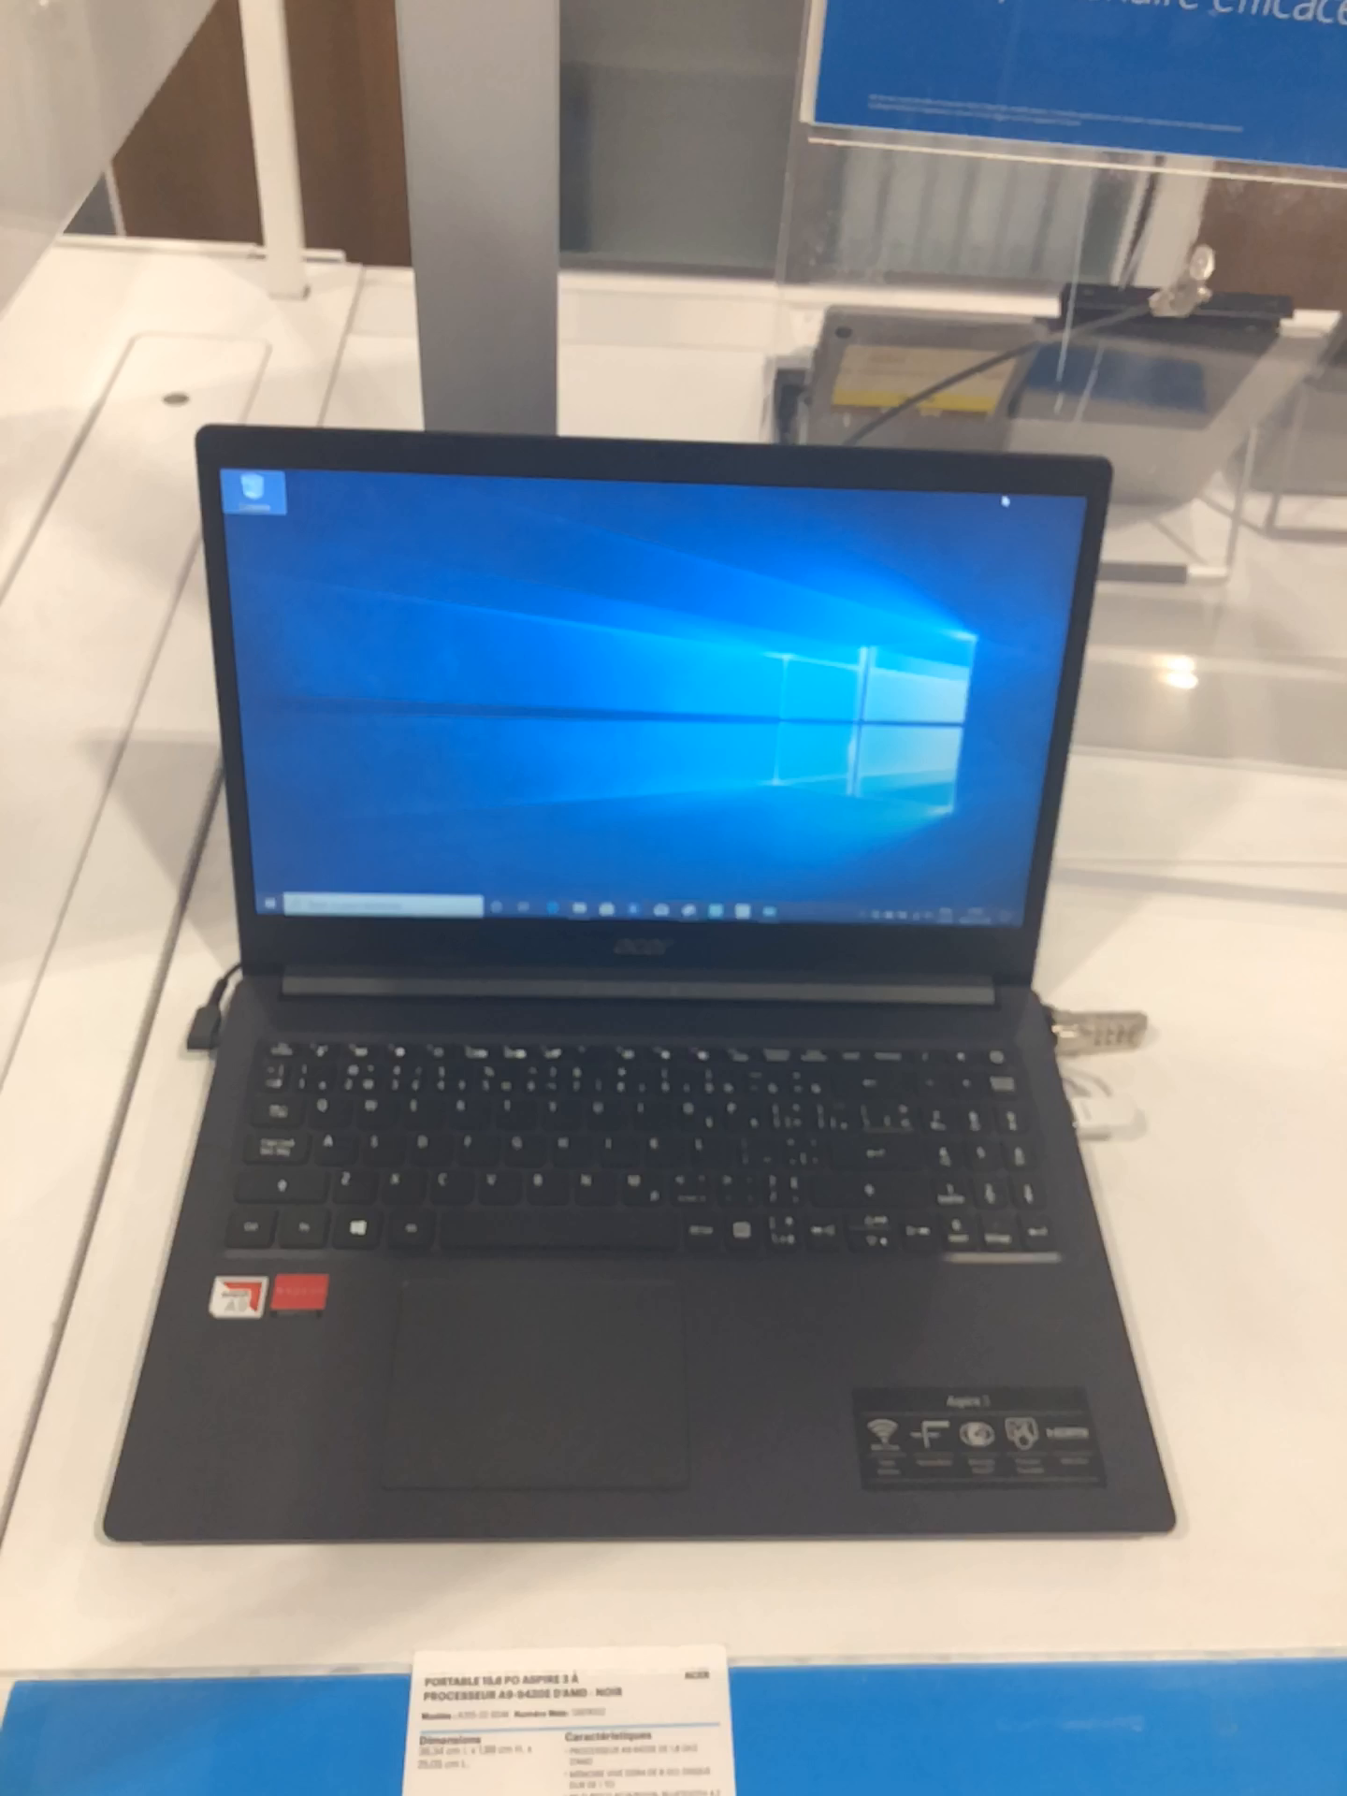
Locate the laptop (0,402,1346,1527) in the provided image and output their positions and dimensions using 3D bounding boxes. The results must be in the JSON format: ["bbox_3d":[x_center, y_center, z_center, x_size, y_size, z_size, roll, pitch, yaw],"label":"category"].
[{"bbox_3d":[-0.007,0.012,0.568,0.367,0.212,0.351,1,47,-3],"label":"laptop"}]
